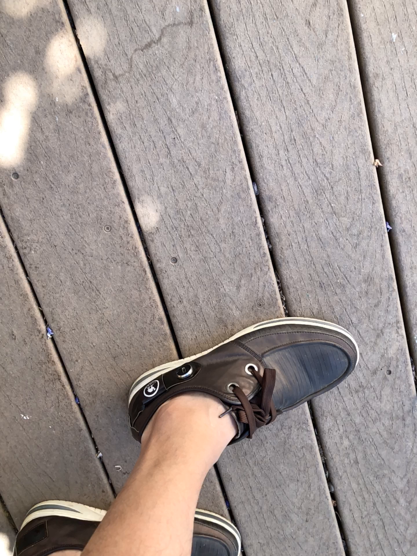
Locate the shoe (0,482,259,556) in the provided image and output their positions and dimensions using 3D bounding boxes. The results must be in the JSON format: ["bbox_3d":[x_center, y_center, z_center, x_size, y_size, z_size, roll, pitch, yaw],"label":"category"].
[{"bbox_3d":[-0.092,0.339,0.551,0.276,0.090,0.104,11,103,-7],"label":"shoe"}]

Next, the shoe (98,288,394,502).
[{"bbox_3d":[0.037,0.123,0.507,0.283,0.096,0.104,-22,105,2],"label":"shoe"}]
